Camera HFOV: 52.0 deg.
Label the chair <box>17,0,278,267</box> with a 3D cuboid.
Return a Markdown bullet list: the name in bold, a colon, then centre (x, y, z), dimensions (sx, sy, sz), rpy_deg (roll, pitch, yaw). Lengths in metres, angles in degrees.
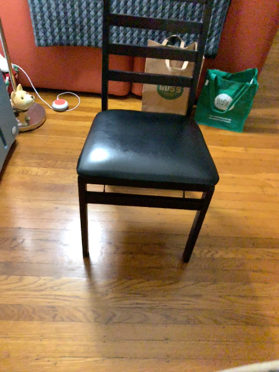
- **chair**: centre (0.036, -0.204, 0.912), dimensions (0.490, 0.866, 0.553), rpy_deg (2, 47, -4)
